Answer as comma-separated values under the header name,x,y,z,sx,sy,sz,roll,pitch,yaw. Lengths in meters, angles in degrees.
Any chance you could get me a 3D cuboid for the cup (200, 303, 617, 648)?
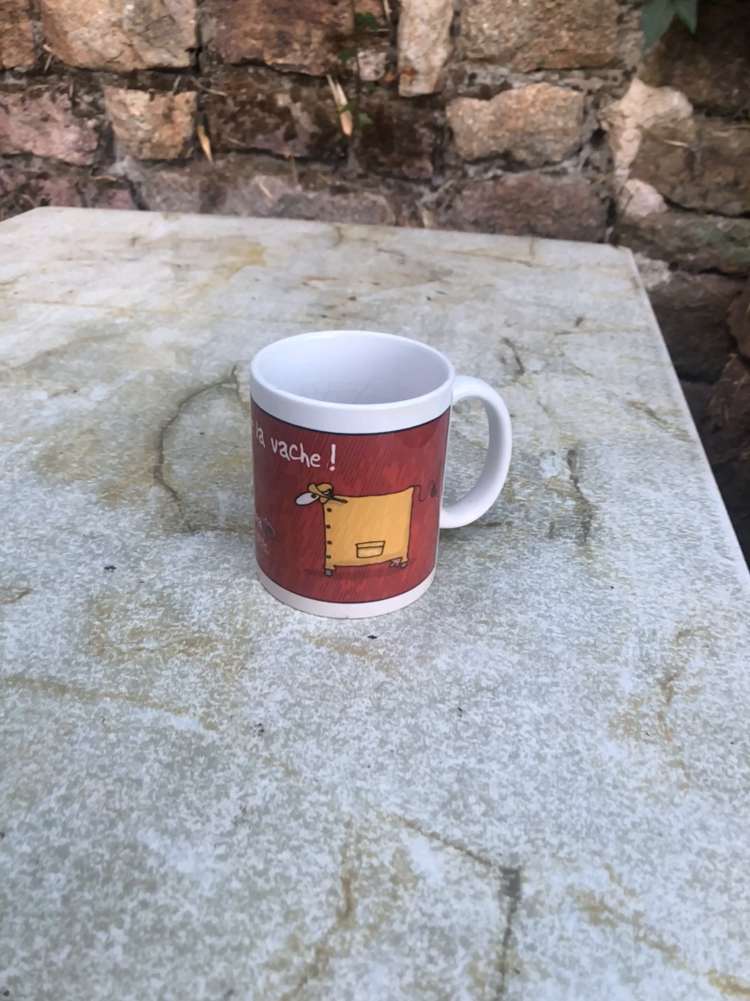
name,x,y,z,sx,sy,sz,roll,pitch,yaw
cup,0.009,-0.017,0.326,0.130,0.083,0.087,-12,34,-21
